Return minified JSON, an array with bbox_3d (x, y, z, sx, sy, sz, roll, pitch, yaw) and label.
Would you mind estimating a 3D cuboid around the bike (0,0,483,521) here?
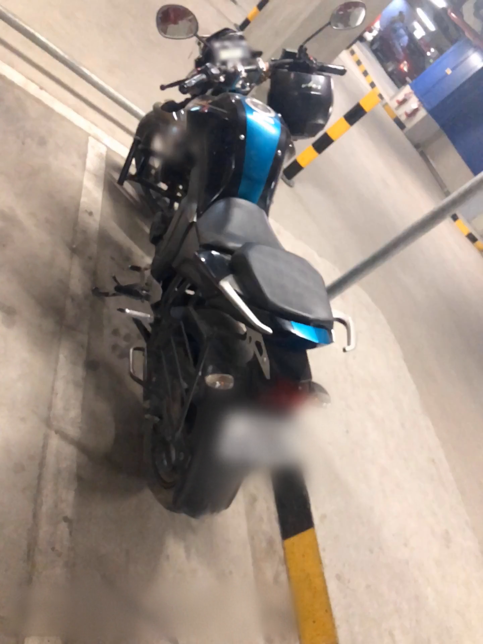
[{"bbox_3d":[-0.127,-0.347,1.582,0.768,0.951,1.417,25,39,-39],"label":"bike"}]
